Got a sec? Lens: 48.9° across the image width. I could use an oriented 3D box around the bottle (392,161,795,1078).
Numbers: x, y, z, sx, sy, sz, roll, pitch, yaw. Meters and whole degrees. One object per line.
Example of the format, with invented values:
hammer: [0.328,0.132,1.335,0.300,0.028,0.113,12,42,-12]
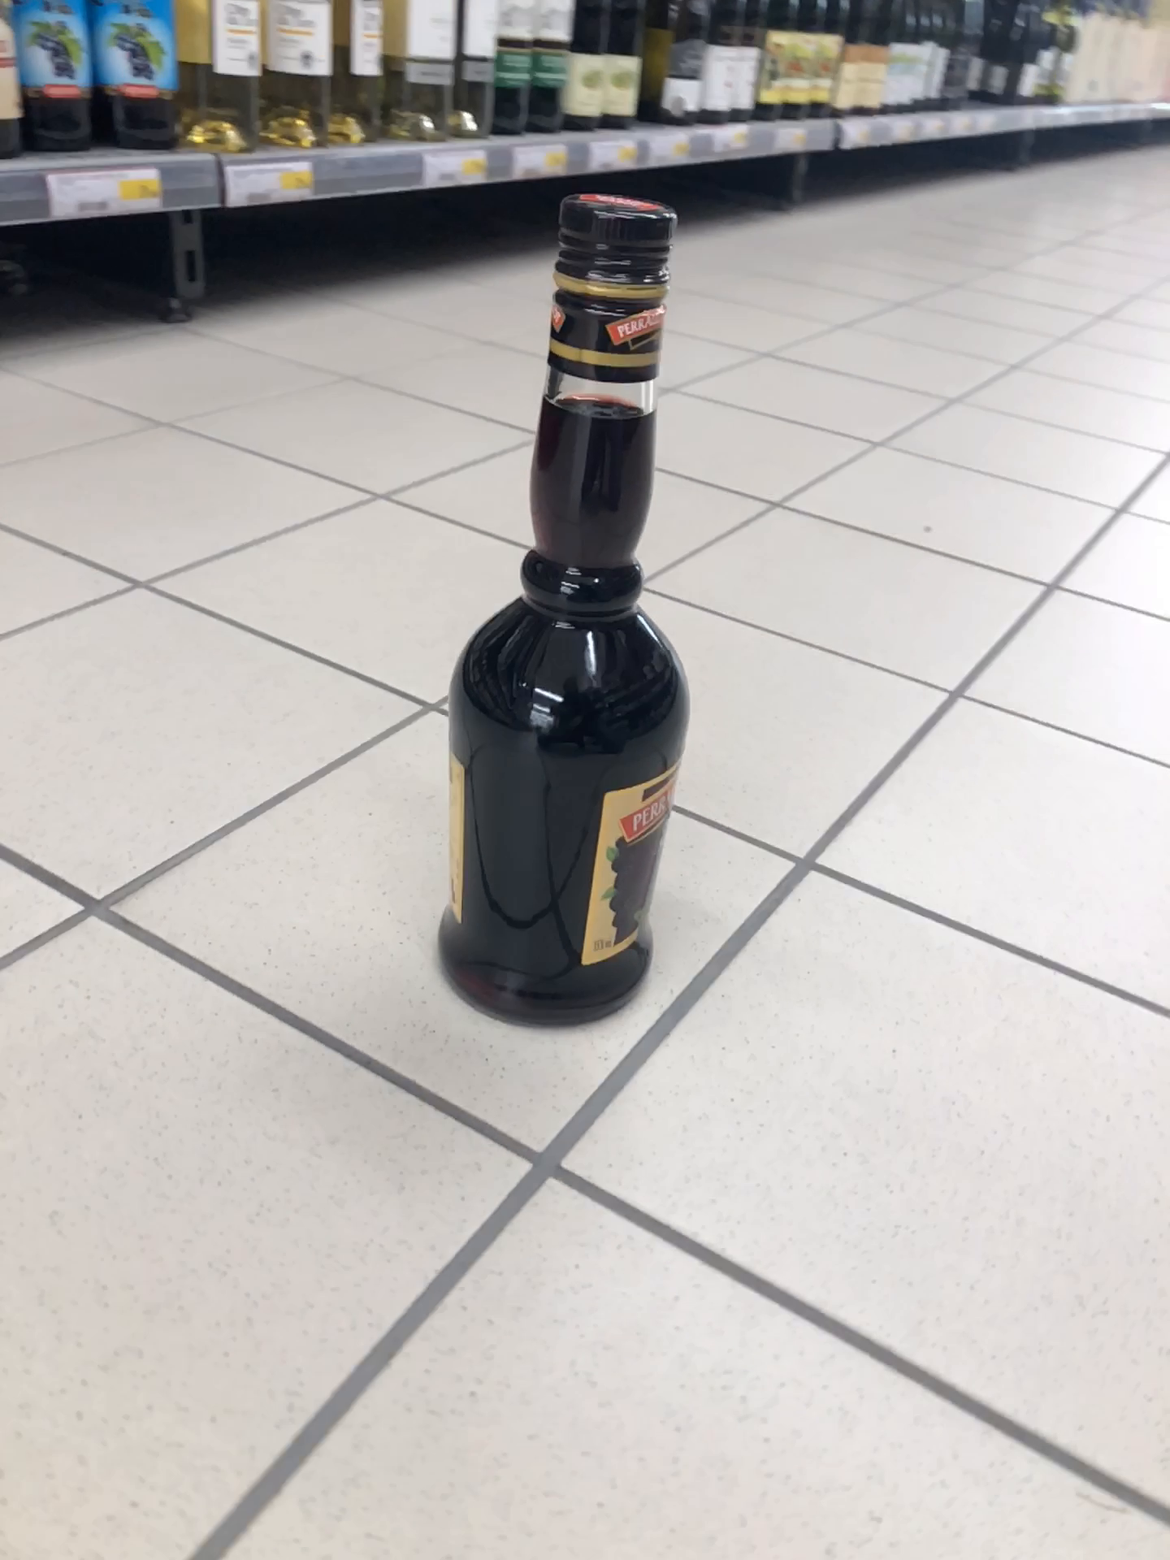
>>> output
bottle: [-0.002,-0.043,0.403,0.080,0.258,0.091,12,31,9]
